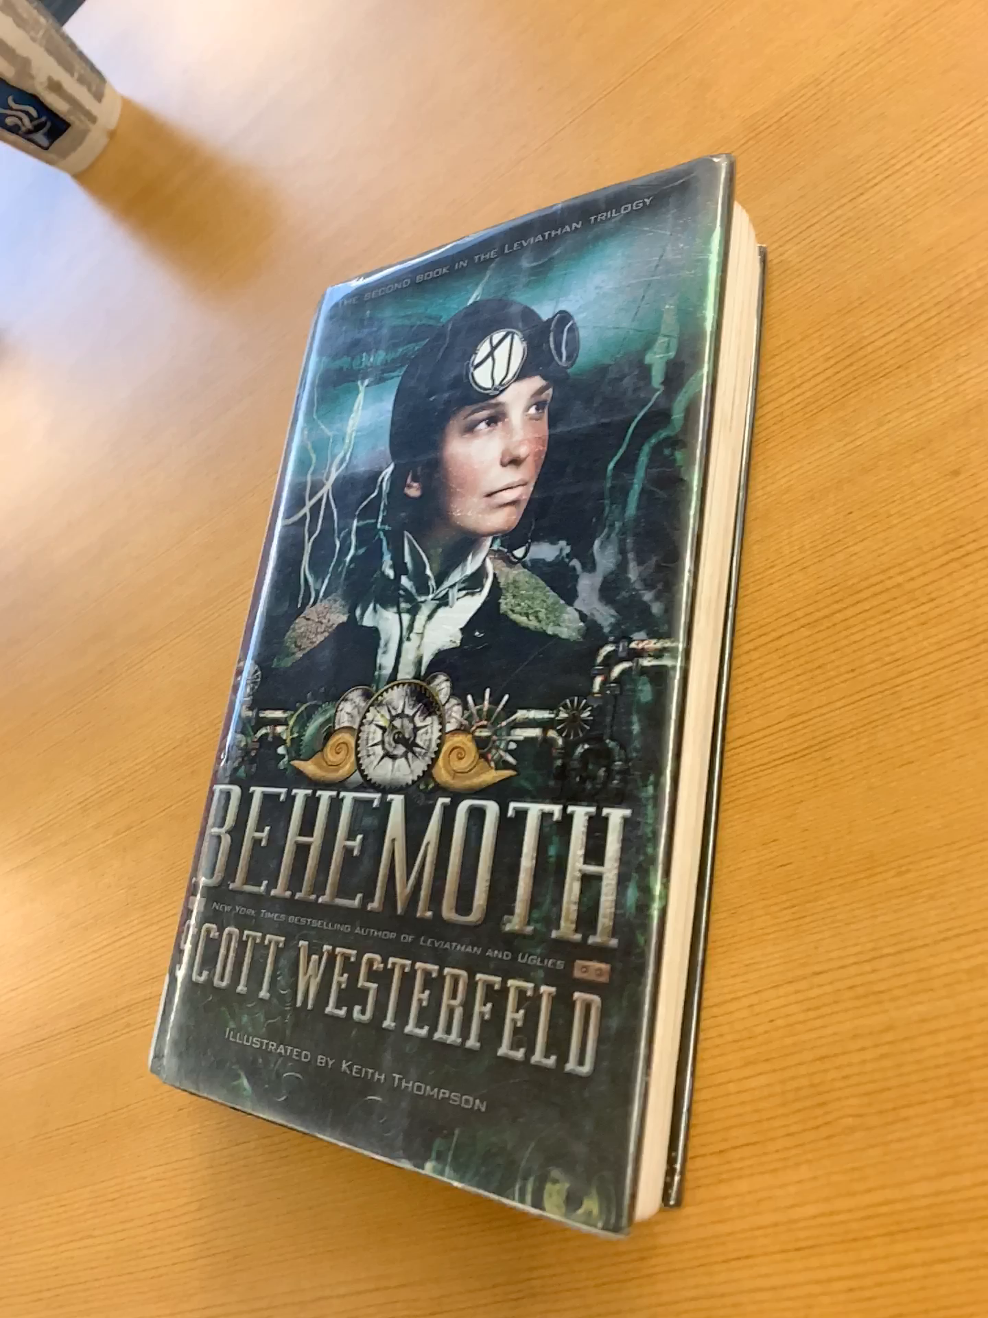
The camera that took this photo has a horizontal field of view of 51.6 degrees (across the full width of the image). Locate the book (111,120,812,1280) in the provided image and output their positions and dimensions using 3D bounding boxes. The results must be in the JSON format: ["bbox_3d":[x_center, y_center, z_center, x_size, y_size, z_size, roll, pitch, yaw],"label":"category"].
[{"bbox_3d":[-0.007,0.001,0.269,0.151,0.050,0.241,-3,71,37],"label":"book"}]
